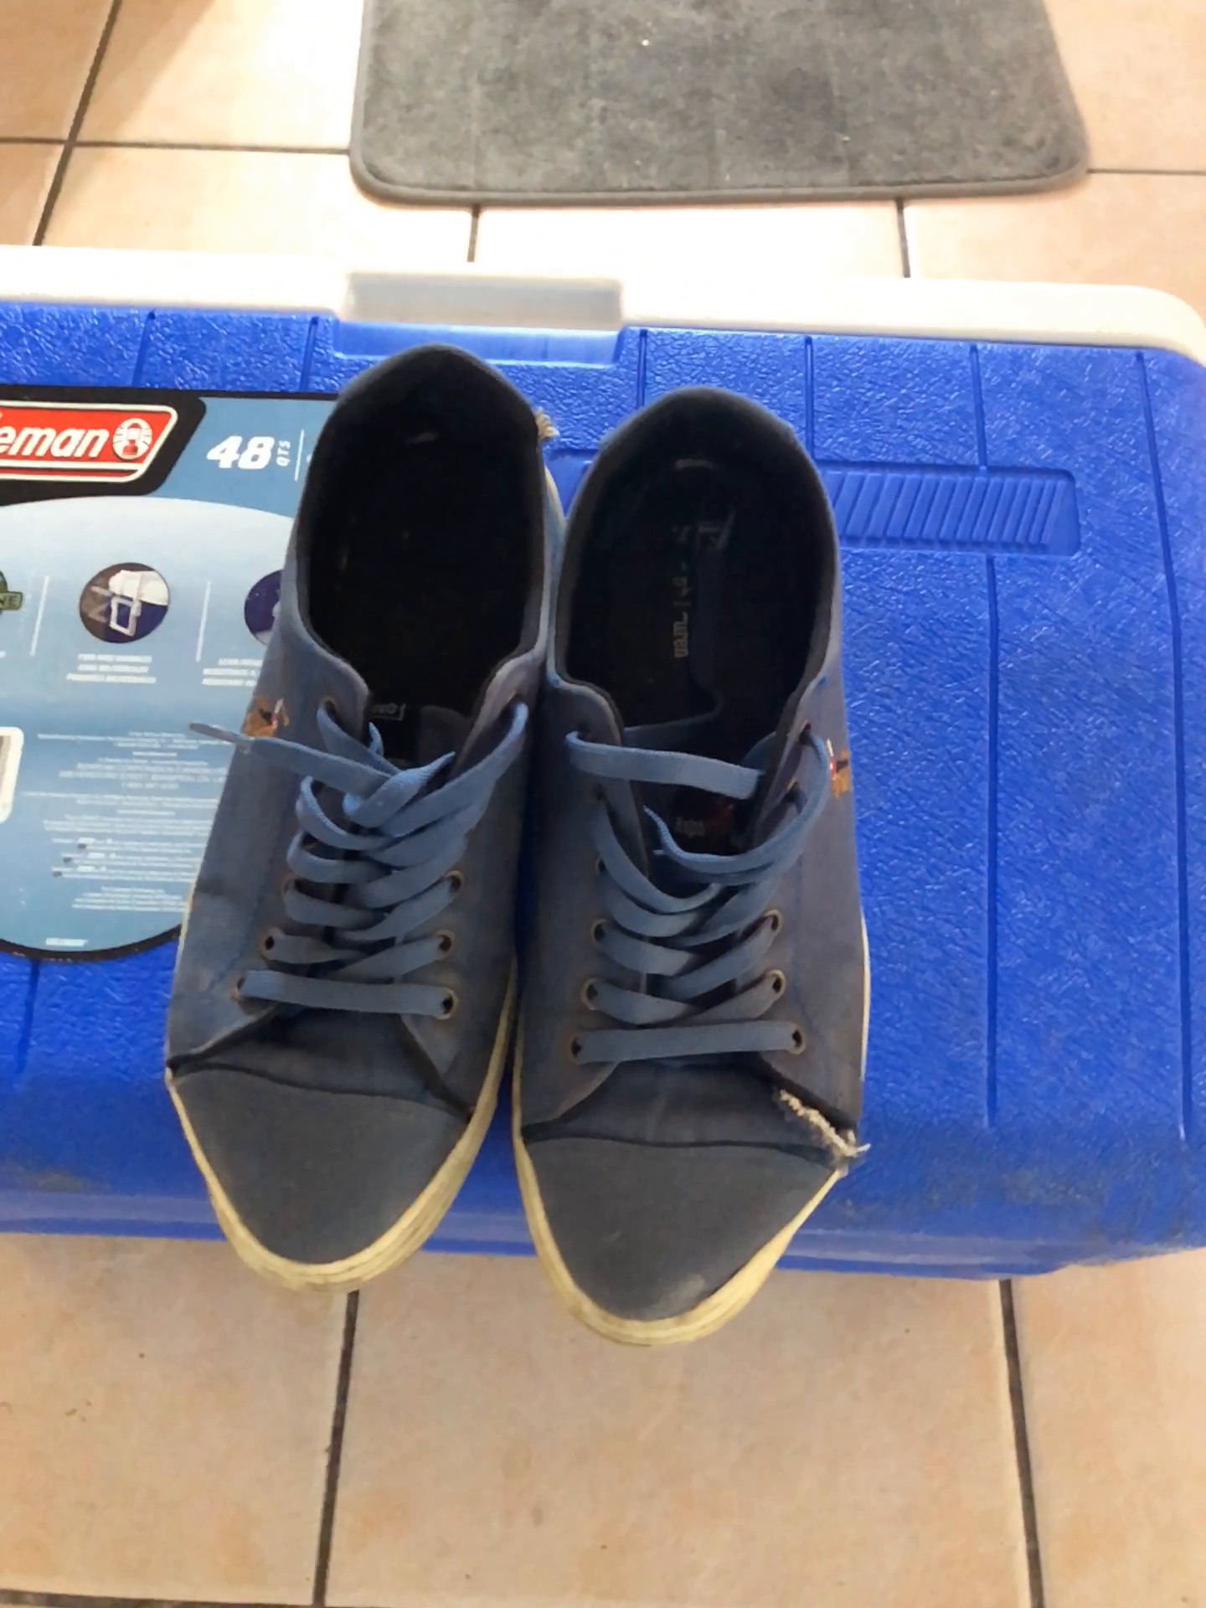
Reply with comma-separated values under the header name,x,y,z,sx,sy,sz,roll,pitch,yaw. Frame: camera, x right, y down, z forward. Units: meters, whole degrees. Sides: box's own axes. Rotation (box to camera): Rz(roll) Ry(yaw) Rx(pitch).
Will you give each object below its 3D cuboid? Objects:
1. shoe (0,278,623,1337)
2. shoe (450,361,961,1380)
name,x,y,z,sx,sy,sz,roll,pitch,yaw
shoe,-0.066,-0.004,0.376,0.107,0.090,0.271,7,70,4
shoe,0.026,0.013,0.376,0.107,0.090,0.271,2,66,1
